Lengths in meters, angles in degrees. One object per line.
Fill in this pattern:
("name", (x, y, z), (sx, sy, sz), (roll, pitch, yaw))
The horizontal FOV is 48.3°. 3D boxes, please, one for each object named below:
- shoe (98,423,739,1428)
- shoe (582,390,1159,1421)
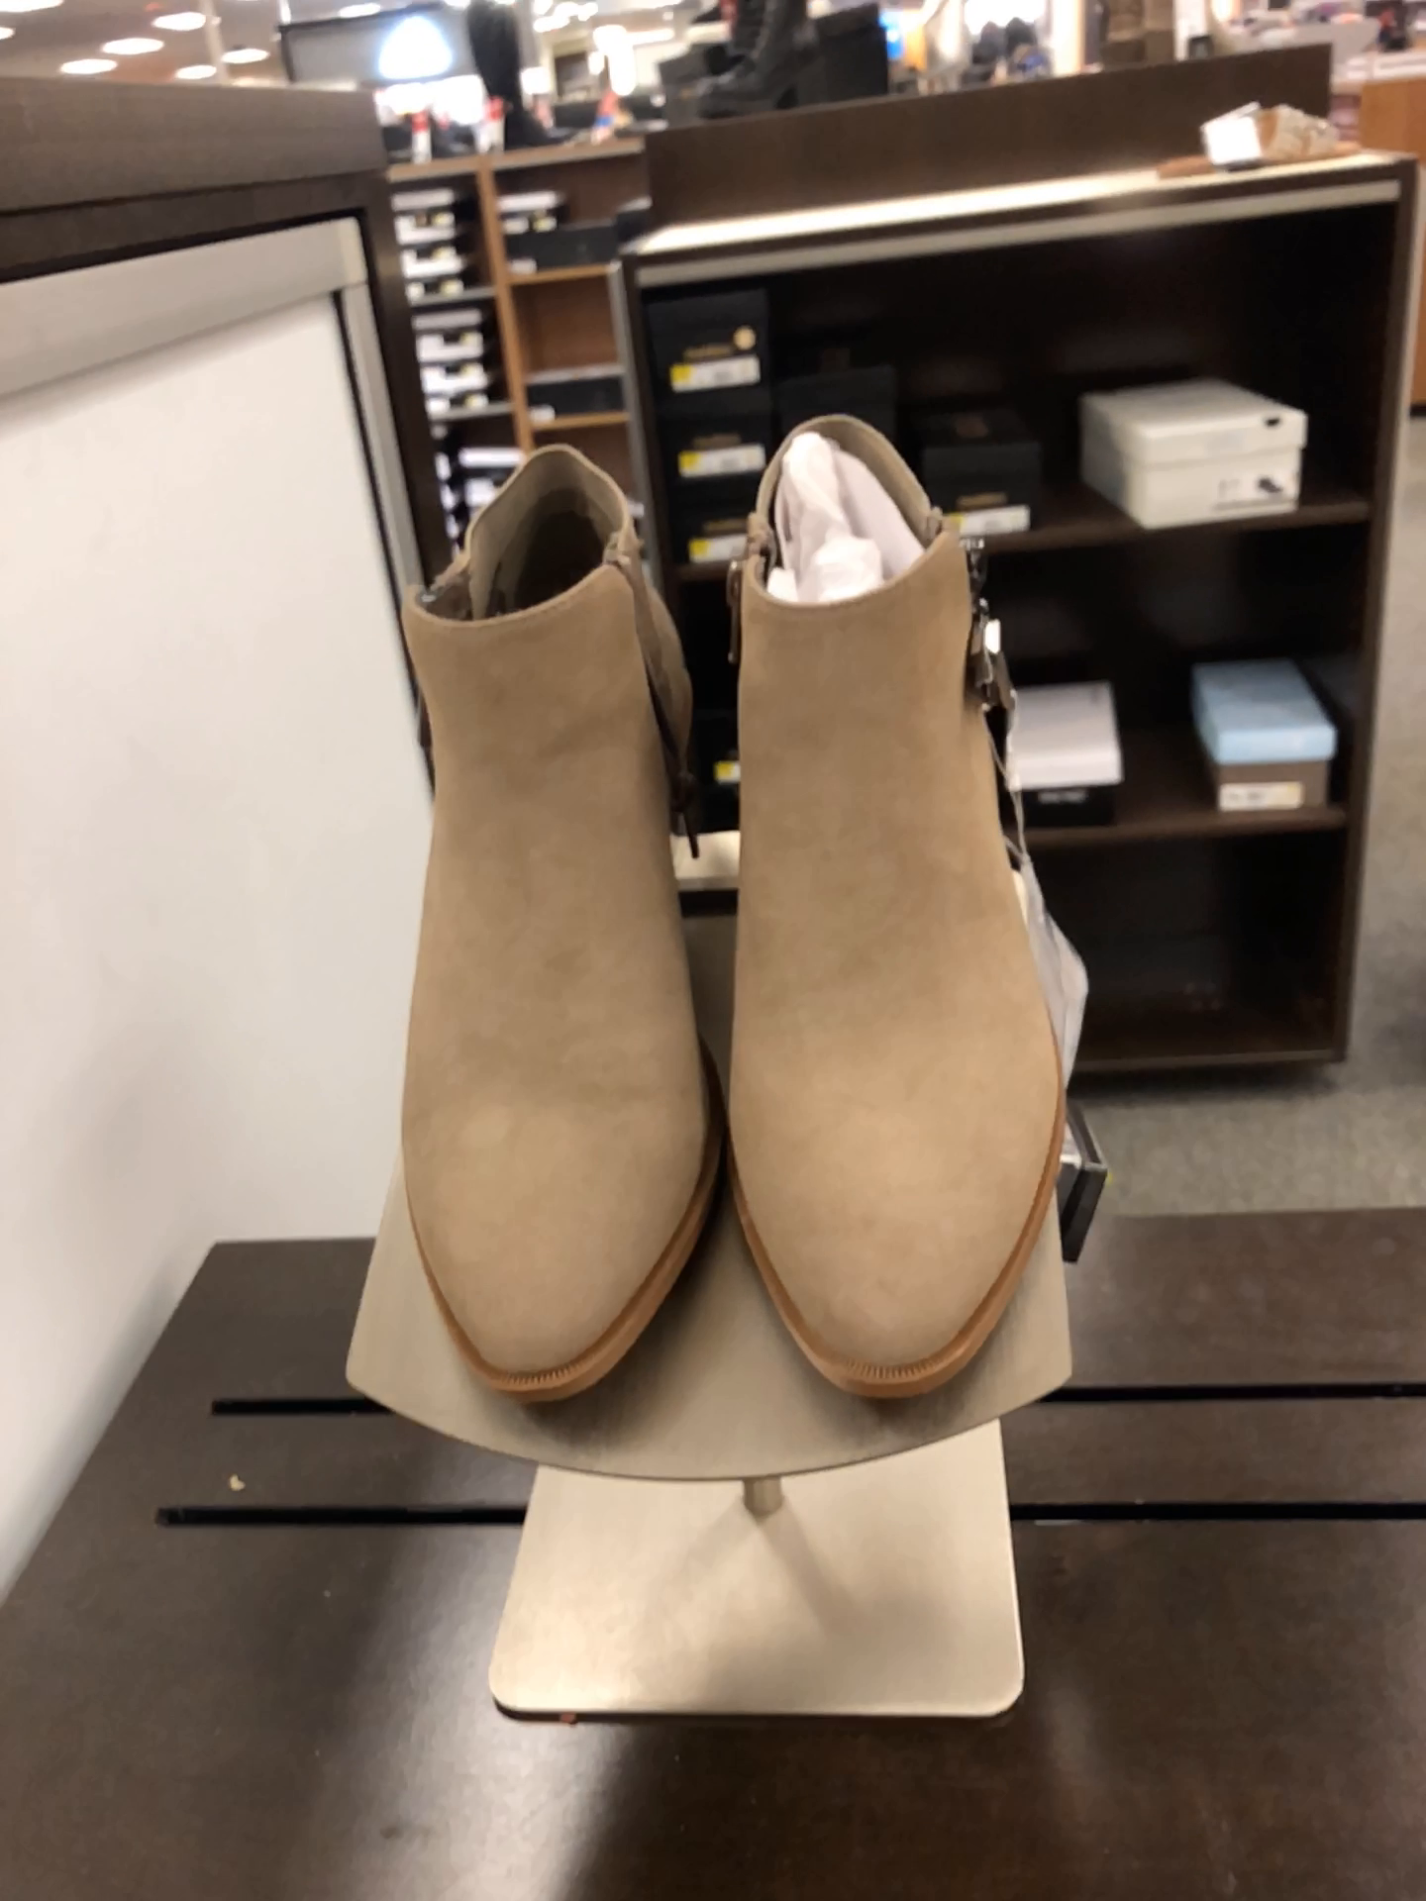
("shoe", (-0.049, -0.022, 0.412), (0.094, 0.152, 0.231), (-5, 33, 5))
("shoe", (0.037, -0.030, 0.402), (0.094, 0.153, 0.241), (-5, 32, 5))
